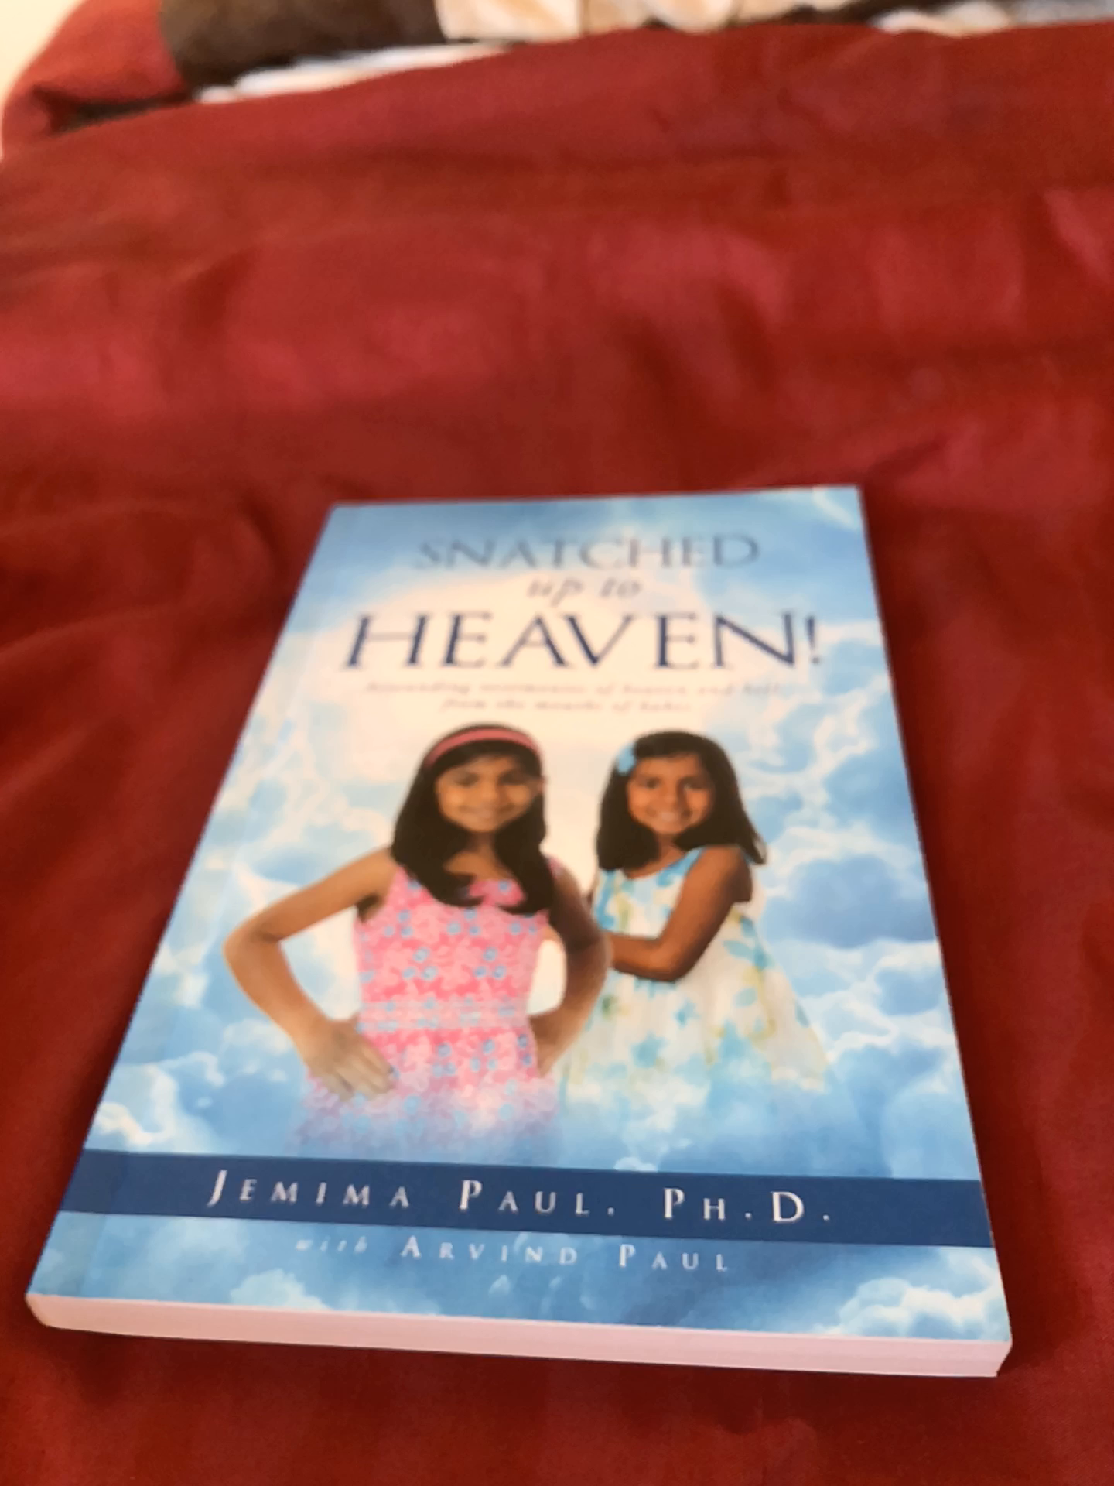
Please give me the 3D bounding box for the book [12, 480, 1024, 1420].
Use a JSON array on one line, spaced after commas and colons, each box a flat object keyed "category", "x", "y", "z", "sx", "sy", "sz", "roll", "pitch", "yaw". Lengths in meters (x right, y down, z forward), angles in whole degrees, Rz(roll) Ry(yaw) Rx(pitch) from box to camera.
[{"category": "book", "x": 0.002, "y": 0.015, "z": 0.256, "sx": 0.140, "sy": 0.020, "sz": 0.213, "roll": 0, "pitch": 43, "yaw": 8}]
